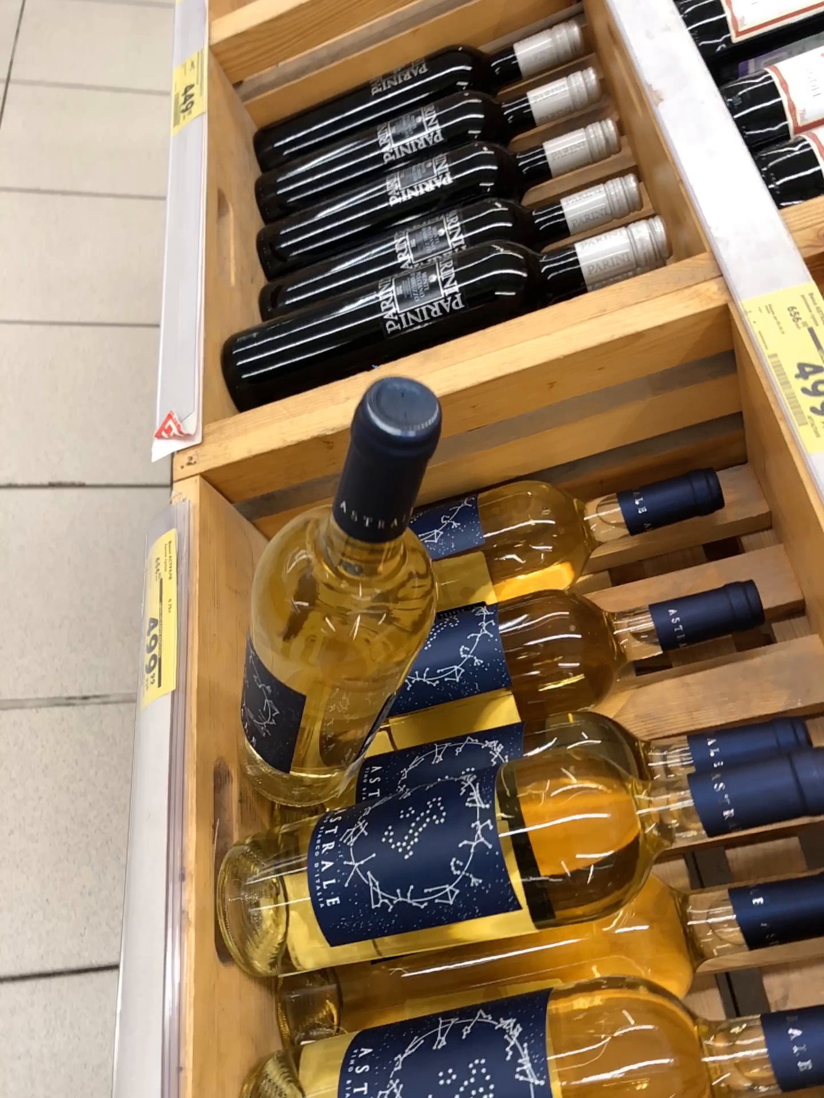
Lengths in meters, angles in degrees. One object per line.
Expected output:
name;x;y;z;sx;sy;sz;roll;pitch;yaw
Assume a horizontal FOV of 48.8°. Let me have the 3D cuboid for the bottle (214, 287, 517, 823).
bottle;-0.035;0.031;0.393;0.080;0.279;0.090;8;57;-9
